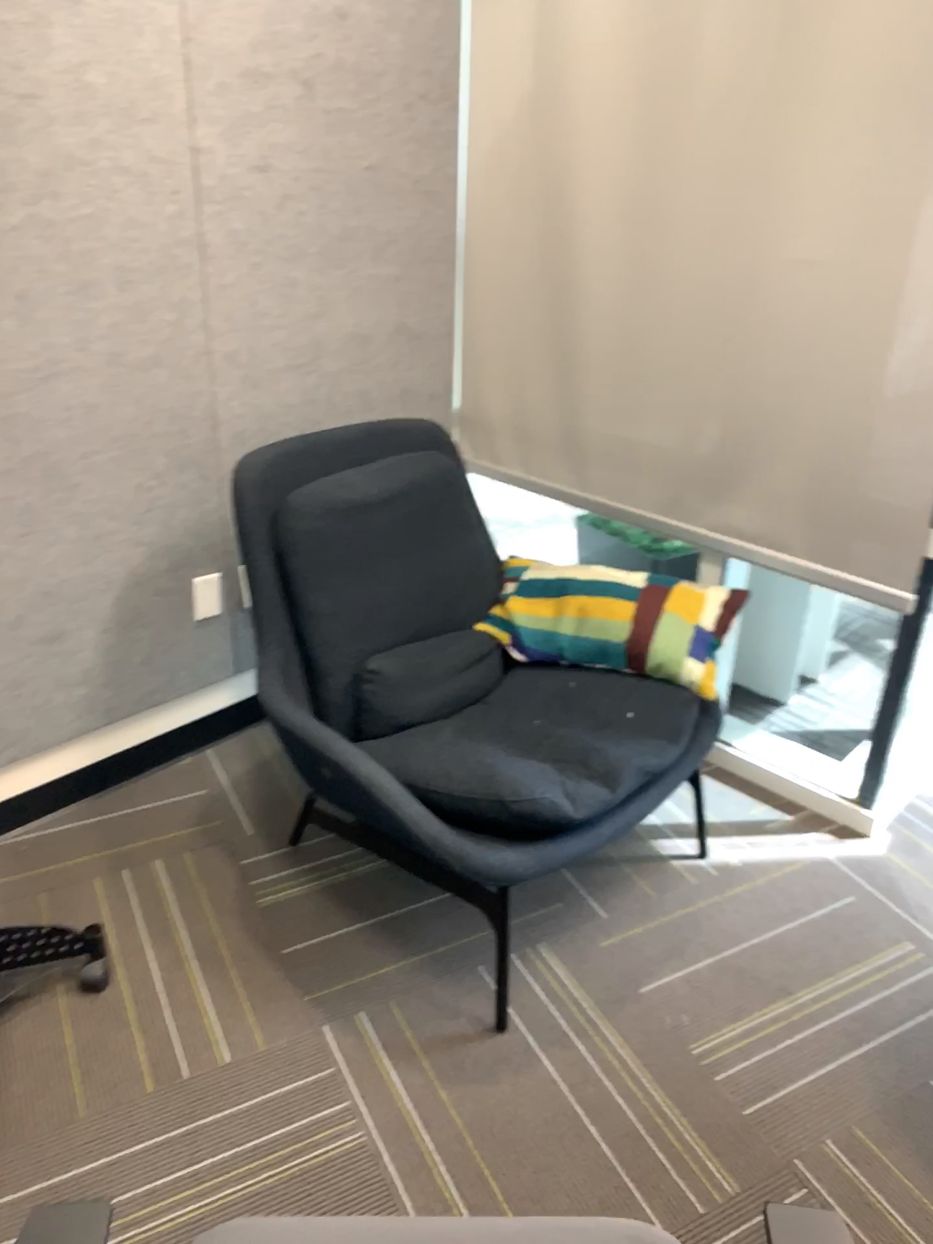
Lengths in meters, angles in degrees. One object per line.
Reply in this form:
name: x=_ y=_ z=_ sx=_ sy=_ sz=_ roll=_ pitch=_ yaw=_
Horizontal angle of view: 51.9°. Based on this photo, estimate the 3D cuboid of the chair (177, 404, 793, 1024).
chair: x=-0.009 y=0.074 z=2.123 sx=0.791 sy=0.816 sz=1.004 roll=-19 pitch=33 yaw=-36
